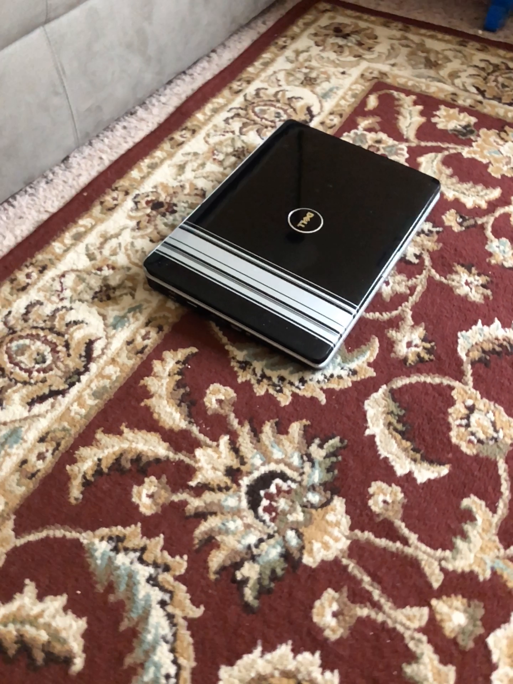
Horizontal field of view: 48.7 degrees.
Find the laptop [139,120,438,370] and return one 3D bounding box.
[{"bbox_3d":[0.056,-0.150,0.735,0.242,0.015,0.351,29,59,15],"label":"laptop"}]
